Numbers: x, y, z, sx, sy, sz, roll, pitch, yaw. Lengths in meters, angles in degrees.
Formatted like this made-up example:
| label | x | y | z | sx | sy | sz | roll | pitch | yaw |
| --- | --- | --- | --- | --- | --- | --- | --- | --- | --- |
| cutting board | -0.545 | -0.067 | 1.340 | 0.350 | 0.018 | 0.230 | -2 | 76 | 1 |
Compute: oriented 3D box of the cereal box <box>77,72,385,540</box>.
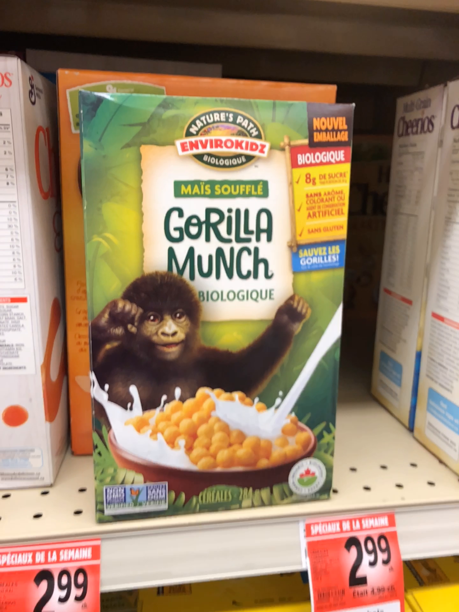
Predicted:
| label | x | y | z | sx | sy | sz | roll | pitch | yaw |
| --- | --- | --- | --- | --- | --- | --- | --- | --- | --- |
| cereal box | -0.003 | 0.004 | 0.318 | 0.160 | 0.259 | 0.060 | -2 | 14 | -11 |
